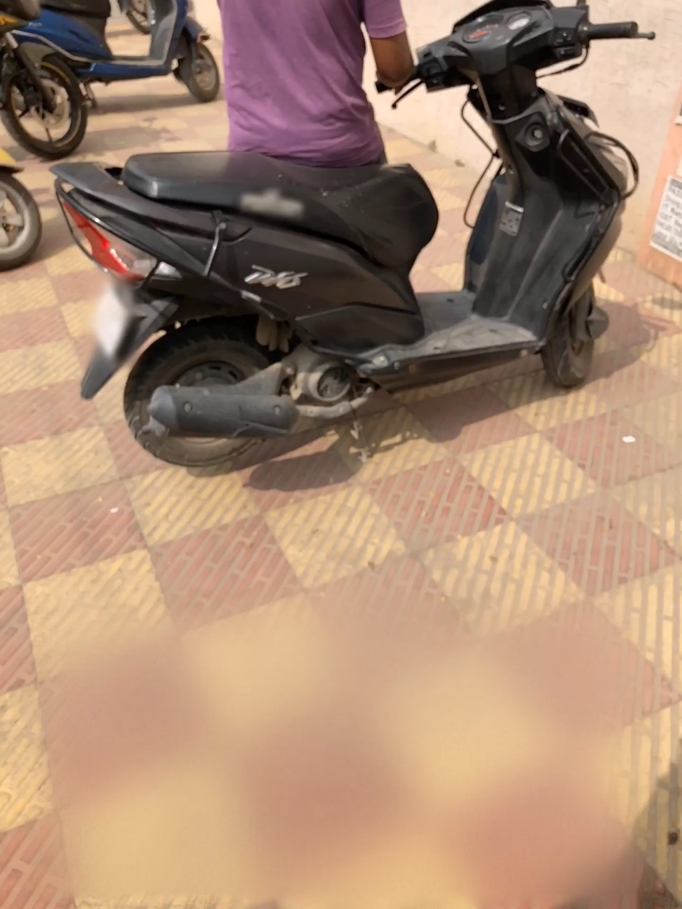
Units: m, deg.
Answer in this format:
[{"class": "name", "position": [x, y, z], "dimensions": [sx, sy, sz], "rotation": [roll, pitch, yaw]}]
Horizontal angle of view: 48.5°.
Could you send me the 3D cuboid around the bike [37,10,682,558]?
[{"class": "bike", "position": [0.156, -0.530, 1.964], "dimensions": [1.511, 0.987, 0.575], "rotation": [-19, 41, -25]}]
